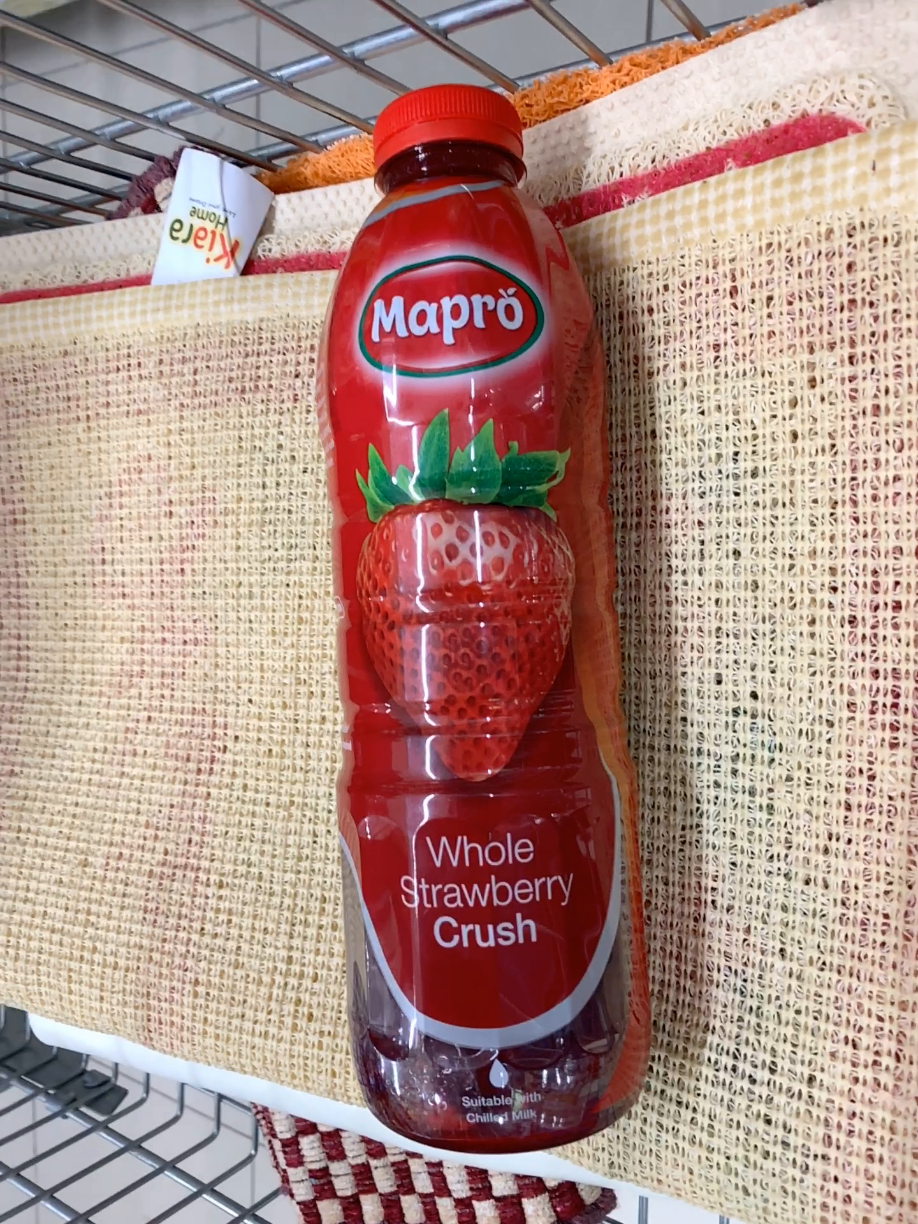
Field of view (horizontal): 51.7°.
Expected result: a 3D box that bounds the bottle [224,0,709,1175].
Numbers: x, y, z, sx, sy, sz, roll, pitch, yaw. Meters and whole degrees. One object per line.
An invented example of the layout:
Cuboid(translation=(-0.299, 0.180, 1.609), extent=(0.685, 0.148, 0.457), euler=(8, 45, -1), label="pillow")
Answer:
Cuboid(translation=(0.005, -0.003, 0.237), extent=(0.090, 0.070, 0.250), euler=(-3, 93, 5), label="bottle")
